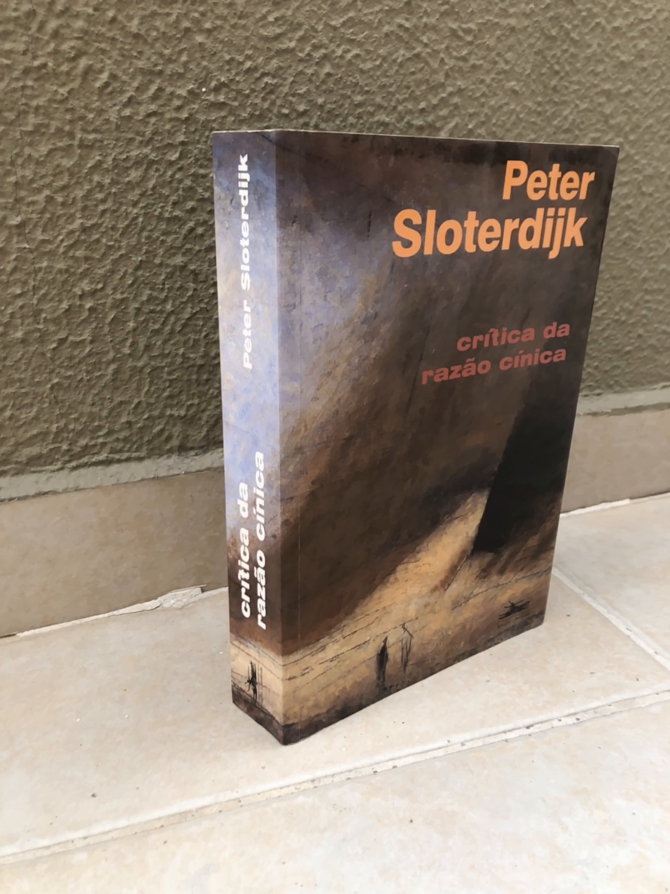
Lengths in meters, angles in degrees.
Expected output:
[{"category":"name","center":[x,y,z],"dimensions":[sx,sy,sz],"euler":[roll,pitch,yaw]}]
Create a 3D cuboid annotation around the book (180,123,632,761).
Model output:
[{"category":"book","center":[0.031,-0.011,0.308],"dimensions":[0.165,0.220,0.058],"euler":[-13,25,-33]}]
